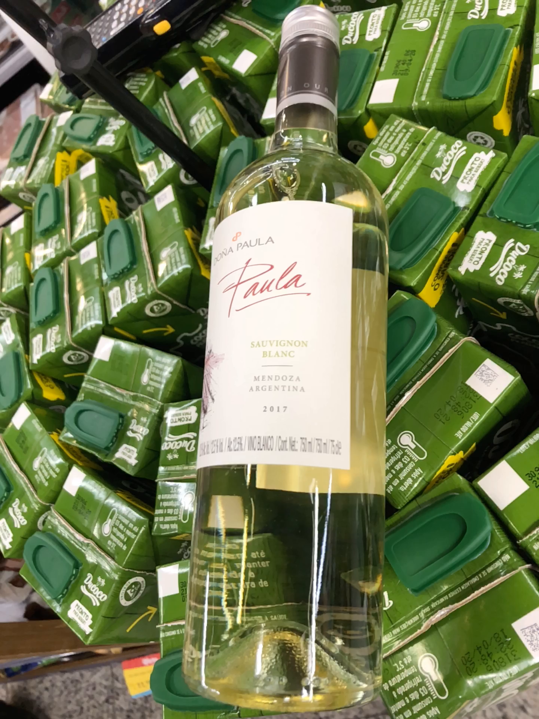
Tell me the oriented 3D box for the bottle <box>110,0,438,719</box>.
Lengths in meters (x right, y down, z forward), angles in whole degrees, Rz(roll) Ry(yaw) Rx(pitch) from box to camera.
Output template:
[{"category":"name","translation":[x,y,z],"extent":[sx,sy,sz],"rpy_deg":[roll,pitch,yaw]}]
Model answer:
[{"category":"bottle","translation":[0.016,-0.048,0.248],"extent":[0.080,0.070,0.331],"rpy_deg":[-8,66,31]}]
